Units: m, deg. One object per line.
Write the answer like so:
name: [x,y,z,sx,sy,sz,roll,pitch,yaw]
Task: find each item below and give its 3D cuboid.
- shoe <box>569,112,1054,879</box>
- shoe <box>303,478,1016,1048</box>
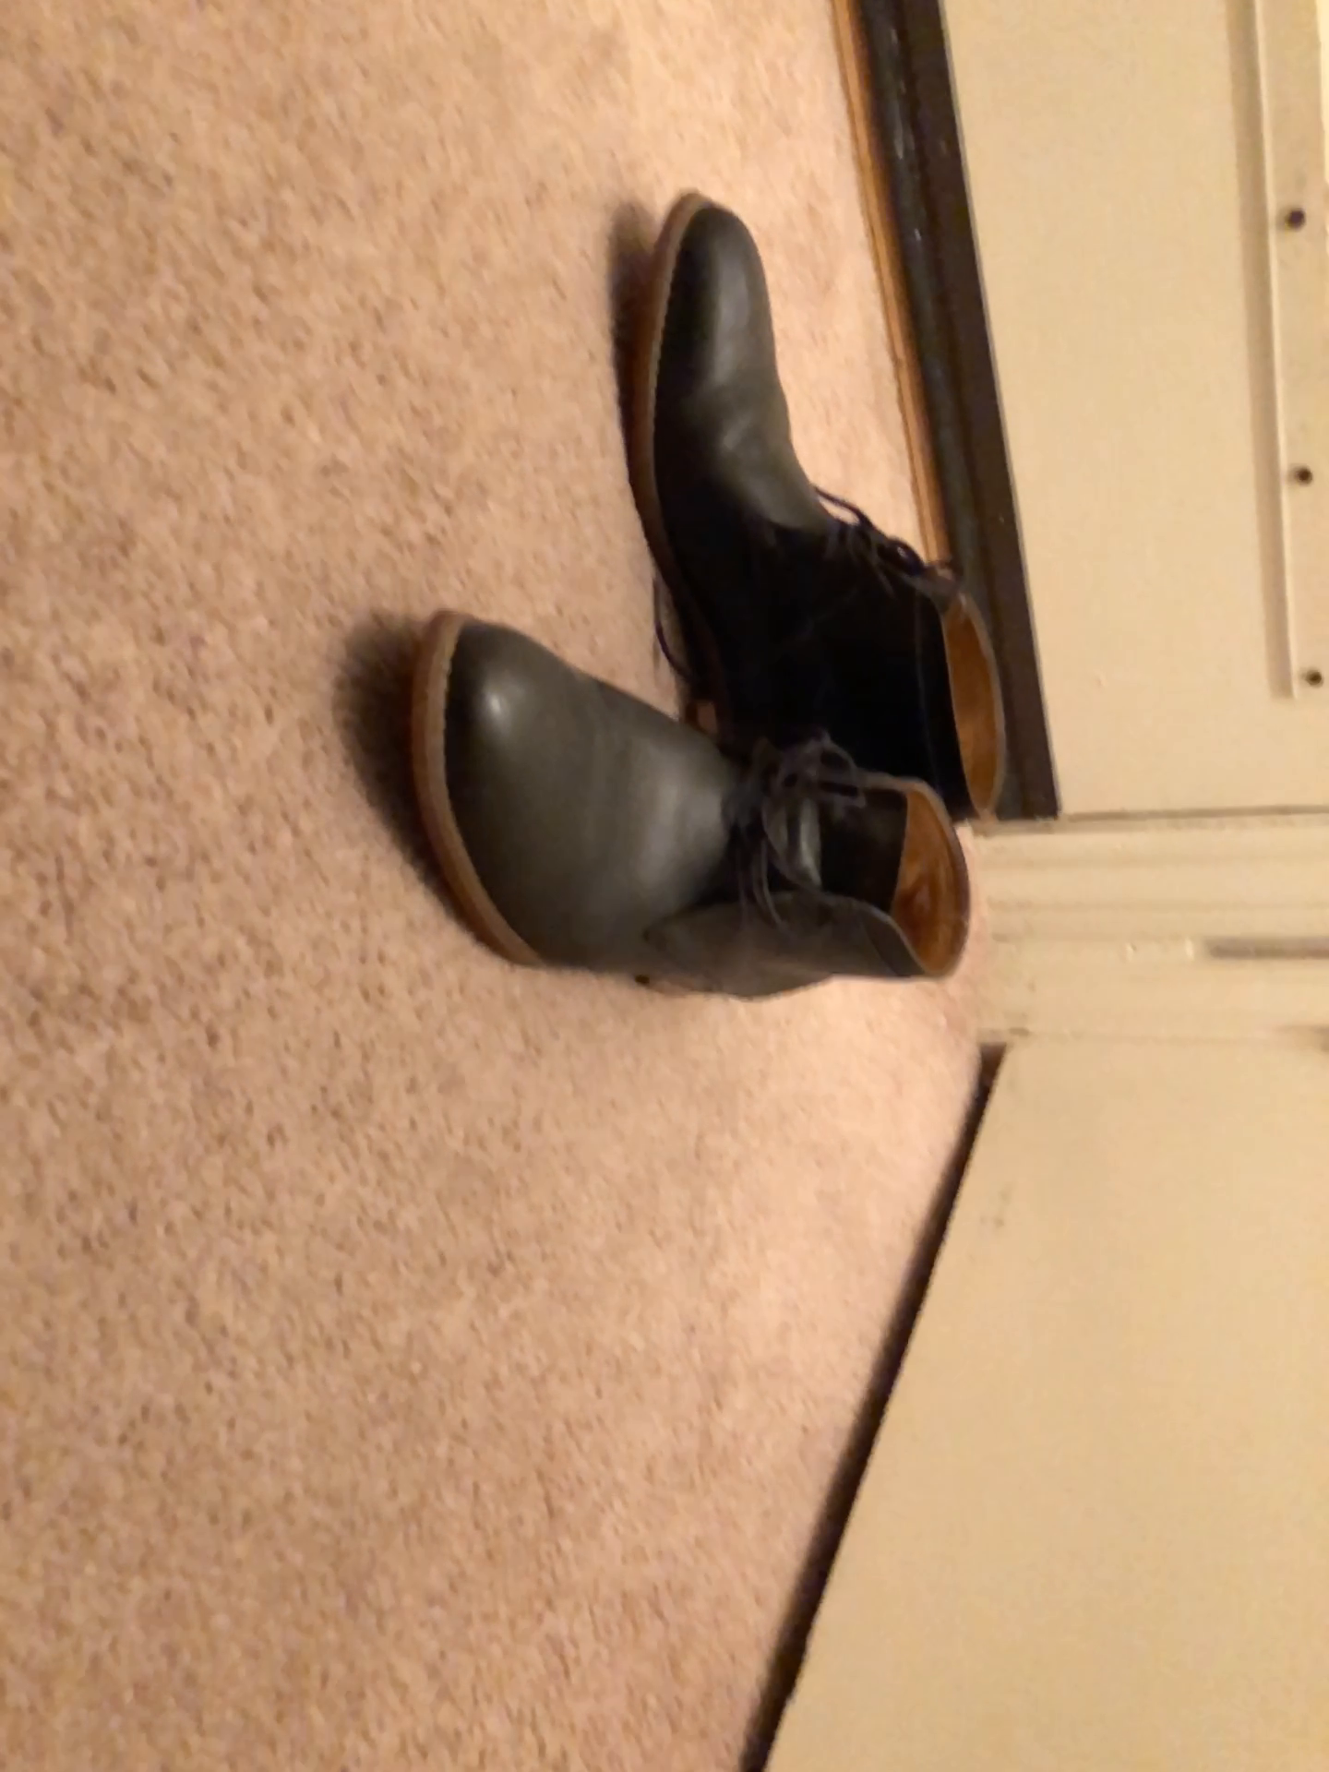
shoe: [0.080,-0.164,0.662,0.117,0.135,0.302,-52,134,-51]
shoe: [0.026,-0.019,0.545,0.303,0.135,0.116,27,65,-60]
